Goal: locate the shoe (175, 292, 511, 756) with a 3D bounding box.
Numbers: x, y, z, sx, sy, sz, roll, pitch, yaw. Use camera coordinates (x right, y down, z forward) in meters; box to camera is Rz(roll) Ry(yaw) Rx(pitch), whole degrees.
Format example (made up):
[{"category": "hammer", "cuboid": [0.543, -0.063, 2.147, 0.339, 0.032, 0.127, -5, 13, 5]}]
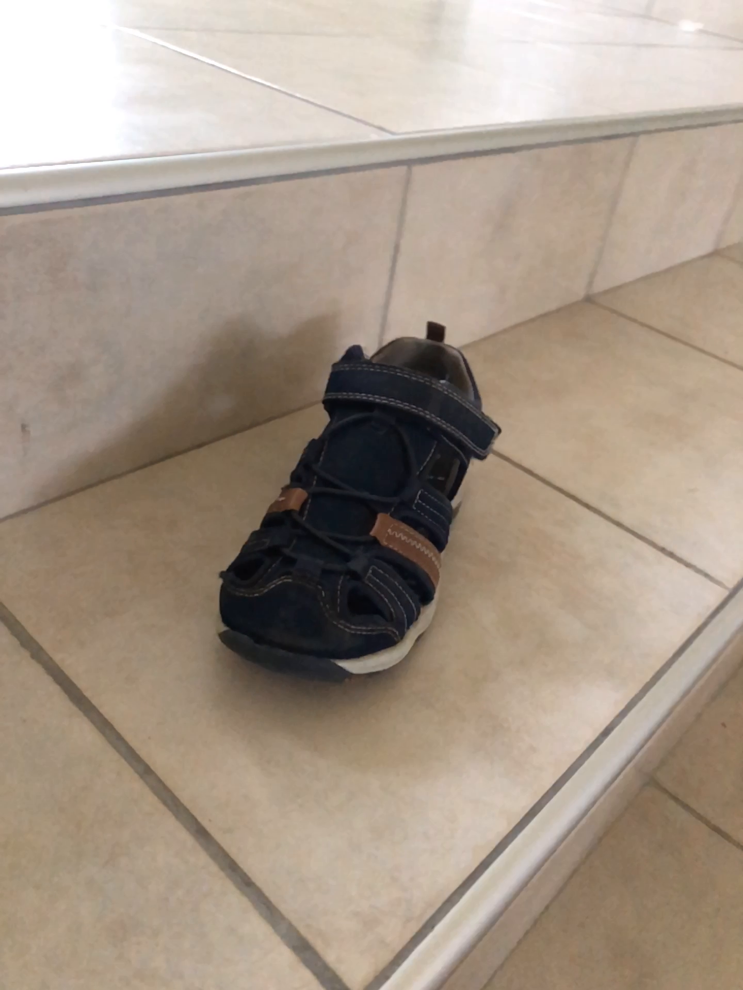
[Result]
[{"category": "shoe", "cuboid": [-0.003, -0.005, 0.400, 0.090, 0.099, 0.222, 16, 35, 8]}]
